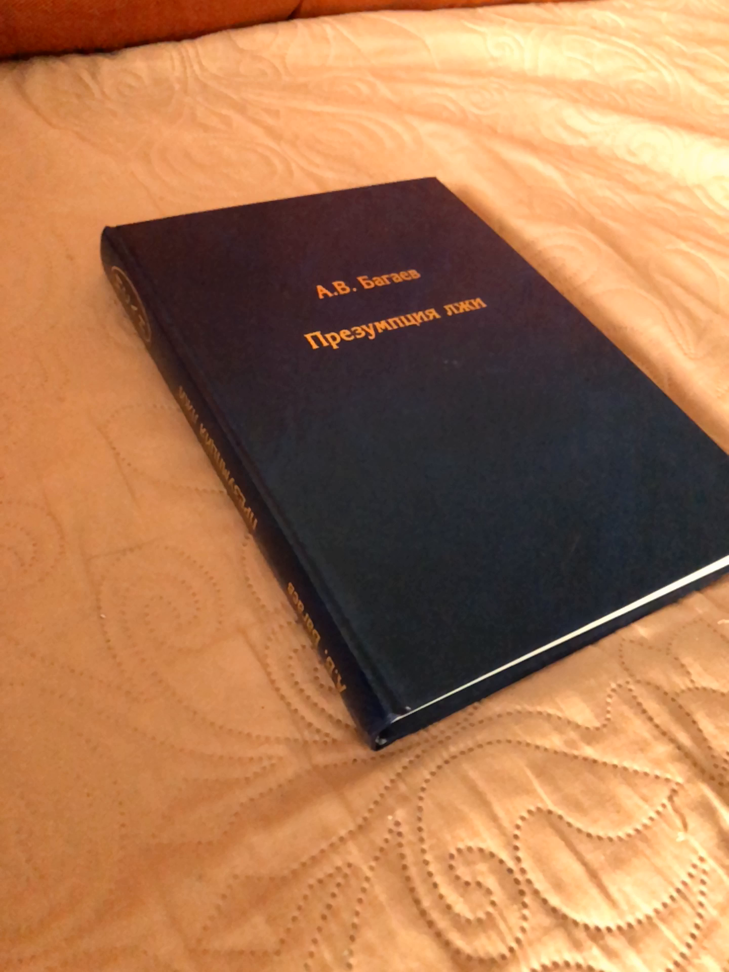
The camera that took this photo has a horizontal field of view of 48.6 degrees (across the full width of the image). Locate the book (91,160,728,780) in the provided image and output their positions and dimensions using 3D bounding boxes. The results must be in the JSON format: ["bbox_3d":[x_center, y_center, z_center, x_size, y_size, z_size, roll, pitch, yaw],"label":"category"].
[{"bbox_3d":[0.020,-0.042,0.332,0.181,0.030,0.261,-19,56,-24],"label":"book"}]
